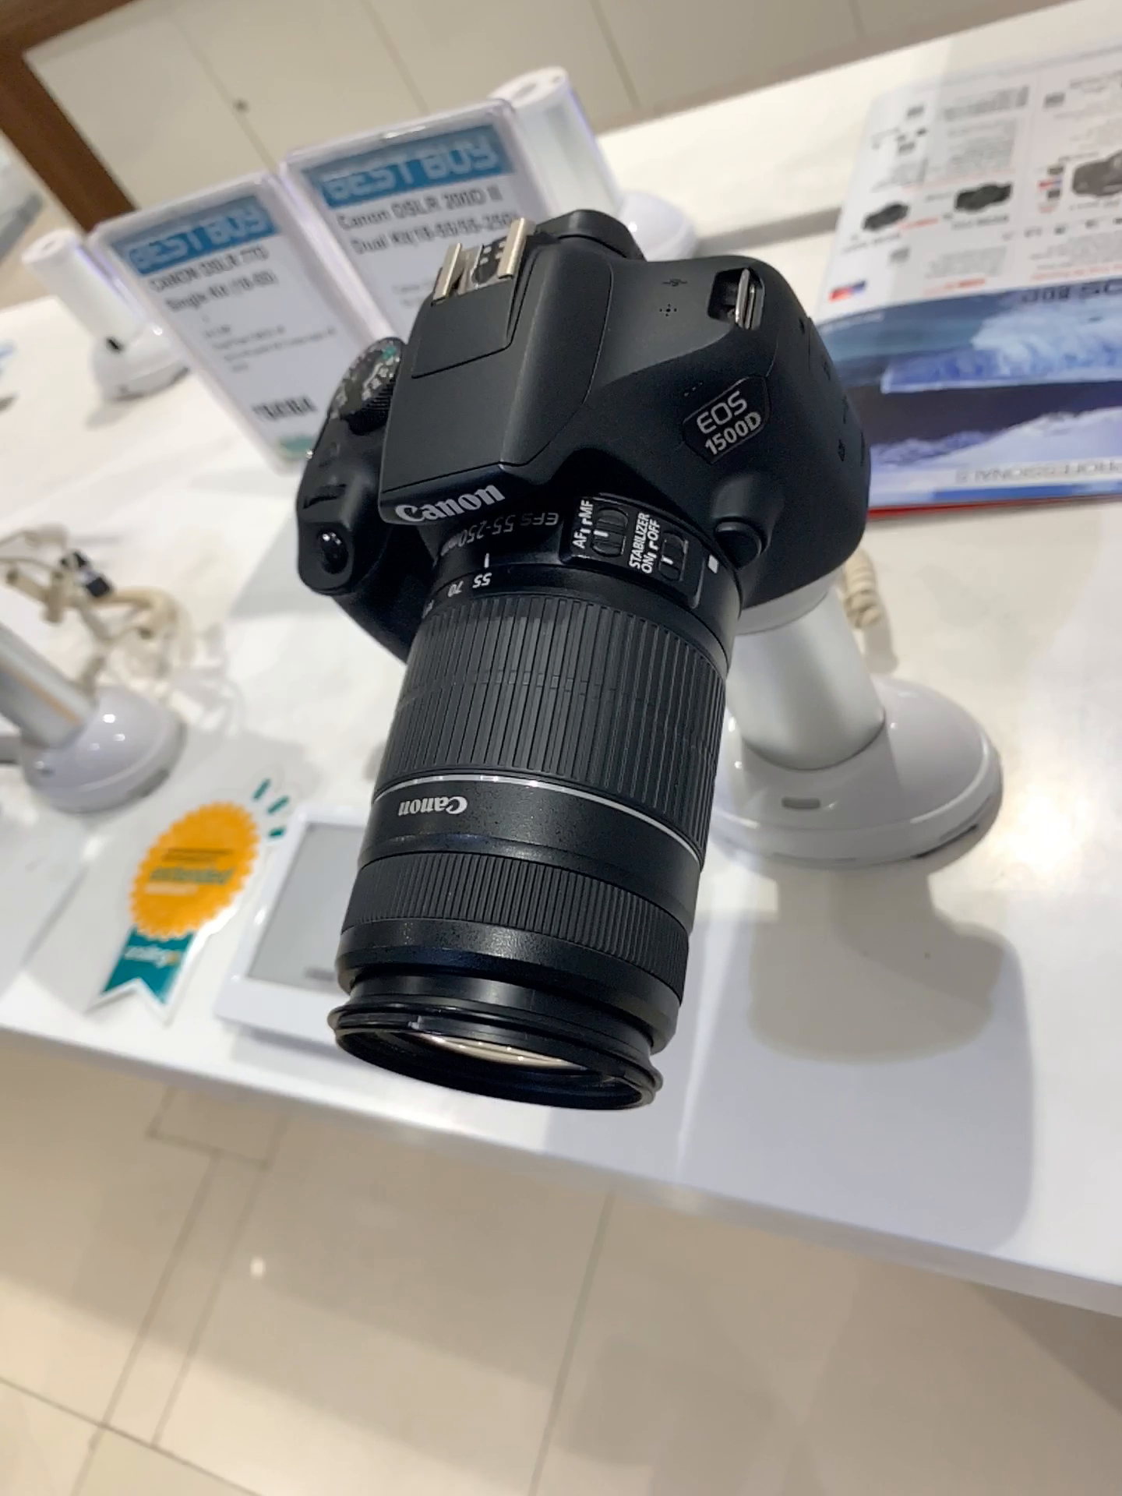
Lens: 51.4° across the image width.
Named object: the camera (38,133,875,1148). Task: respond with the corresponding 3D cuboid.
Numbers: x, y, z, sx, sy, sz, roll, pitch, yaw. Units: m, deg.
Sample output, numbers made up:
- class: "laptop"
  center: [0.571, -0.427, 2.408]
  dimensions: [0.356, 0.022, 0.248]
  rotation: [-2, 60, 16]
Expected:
- class: "camera"
  center: [-0.007, -0.014, 0.241]
  dimensions: [0.118, 0.090, 0.164]
  rotation: [-6, 62, 28]
